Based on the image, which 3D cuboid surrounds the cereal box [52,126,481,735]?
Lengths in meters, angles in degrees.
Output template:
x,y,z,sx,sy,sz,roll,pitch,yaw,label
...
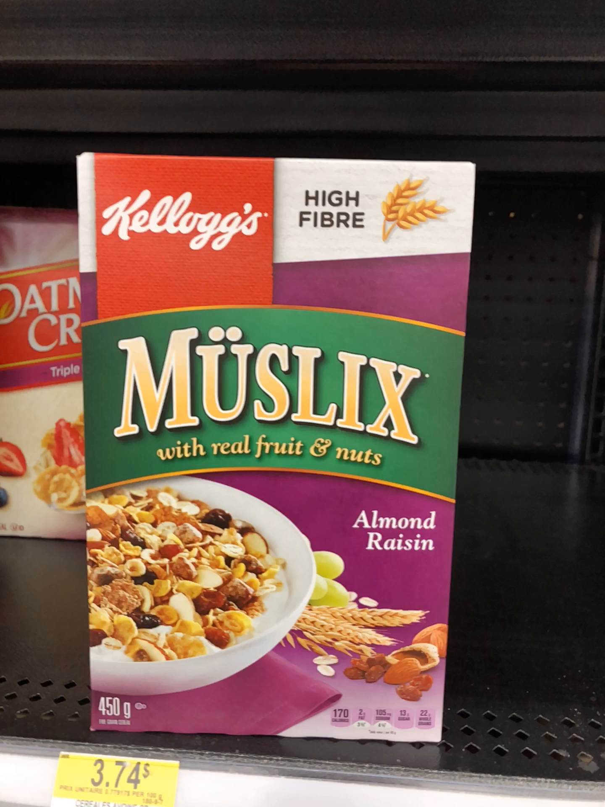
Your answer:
x,y,z,sx,sy,sz,roll,pitch,yaw,label
-0.018,0.014,0.318,0.170,0.259,0.060,2,10,2,cereal box
